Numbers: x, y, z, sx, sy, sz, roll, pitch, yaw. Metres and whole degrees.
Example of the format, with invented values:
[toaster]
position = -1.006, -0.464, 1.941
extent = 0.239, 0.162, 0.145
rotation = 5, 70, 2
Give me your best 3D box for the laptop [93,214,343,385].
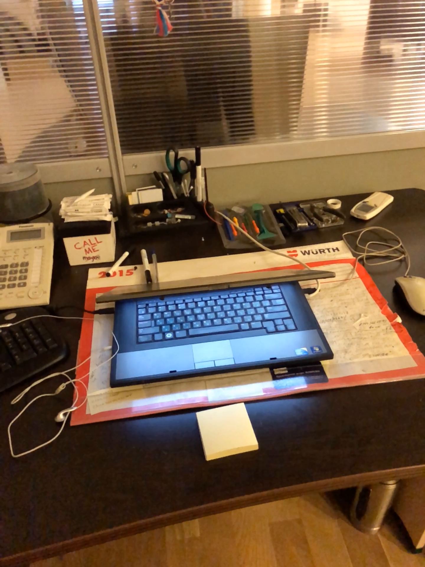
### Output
[laptop]
position = -0.001, 0.013, 0.799
extent = 0.357, 0.141, 0.240
rotation = -6, 35, -6
